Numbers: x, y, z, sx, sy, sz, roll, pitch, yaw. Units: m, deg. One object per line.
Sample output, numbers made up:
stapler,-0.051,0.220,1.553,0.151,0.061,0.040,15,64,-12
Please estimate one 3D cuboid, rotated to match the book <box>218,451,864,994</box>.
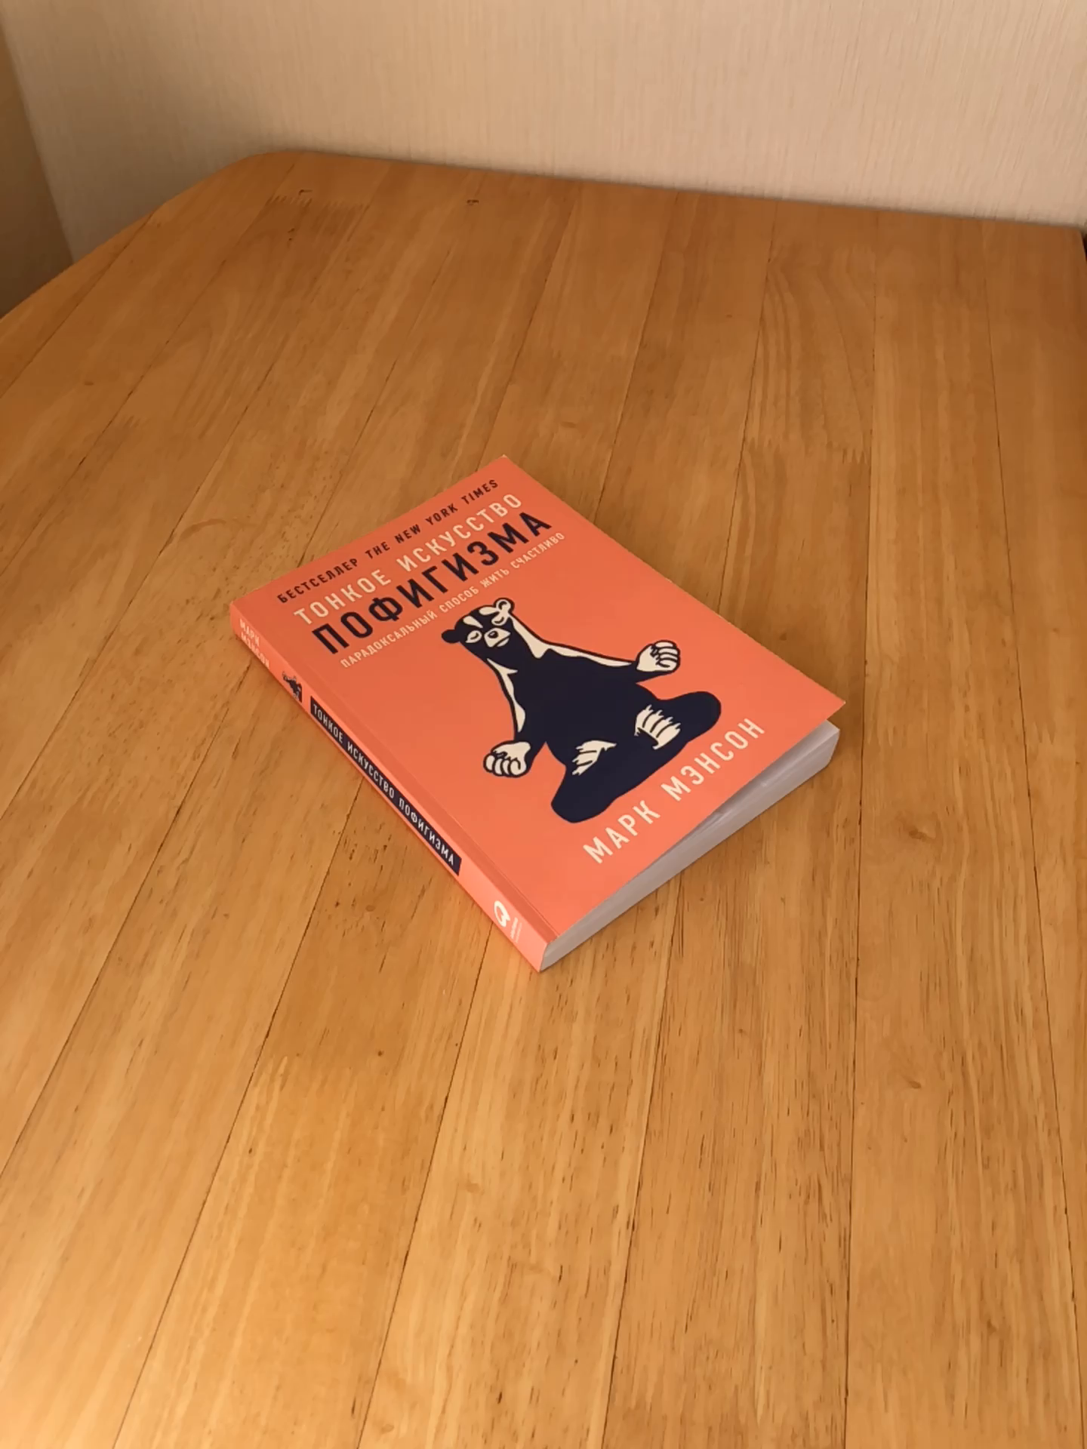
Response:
book,-0.006,-0.016,0.454,0.143,0.033,0.197,-32,57,-26
